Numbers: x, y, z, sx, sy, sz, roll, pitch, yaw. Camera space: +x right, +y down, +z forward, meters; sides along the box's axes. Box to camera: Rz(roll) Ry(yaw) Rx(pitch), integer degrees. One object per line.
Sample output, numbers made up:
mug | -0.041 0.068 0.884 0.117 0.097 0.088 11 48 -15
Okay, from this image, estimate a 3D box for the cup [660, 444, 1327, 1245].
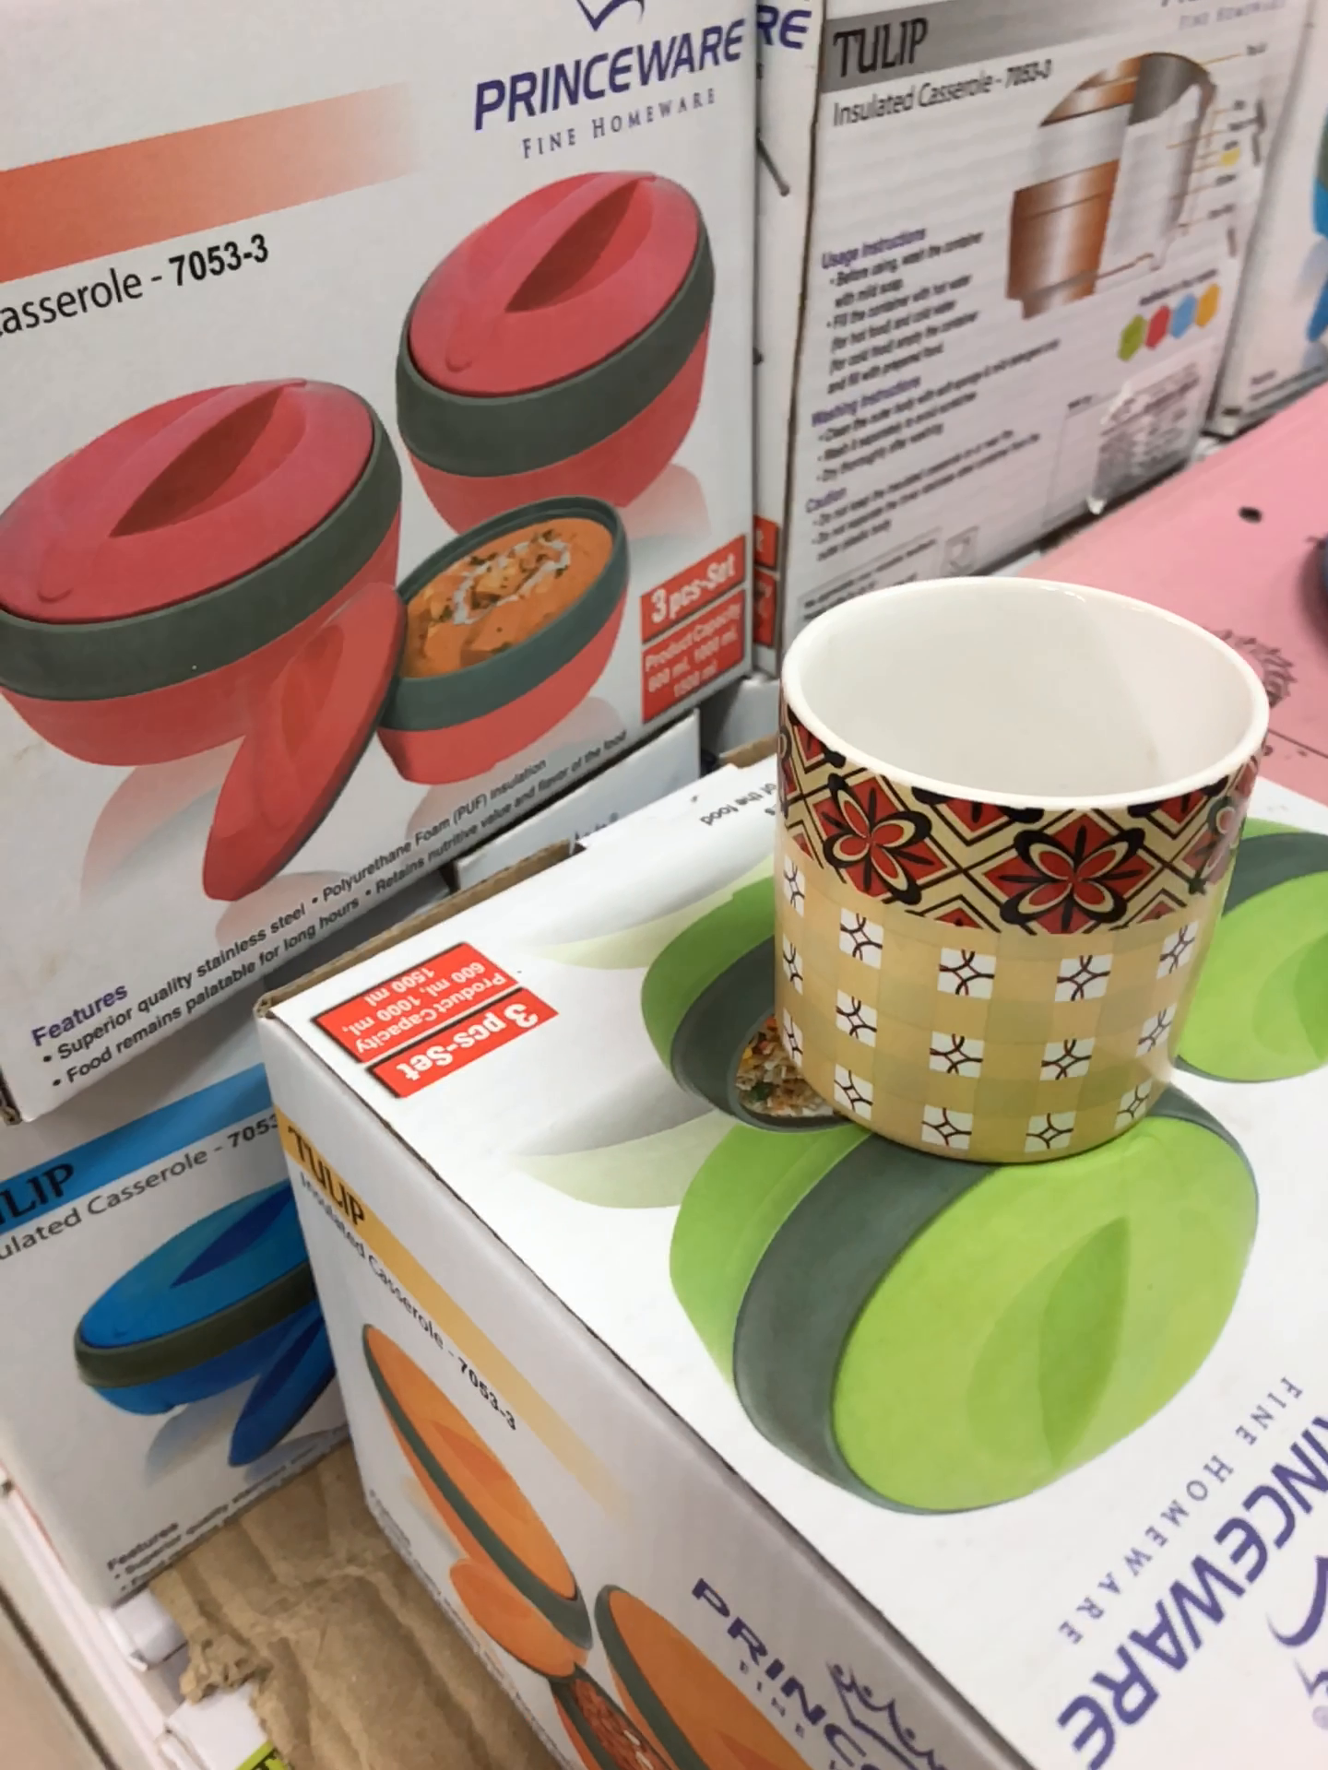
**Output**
cup | 0.068 -0.016 0.264 0.111 0.079 0.080 -30 45 -34
